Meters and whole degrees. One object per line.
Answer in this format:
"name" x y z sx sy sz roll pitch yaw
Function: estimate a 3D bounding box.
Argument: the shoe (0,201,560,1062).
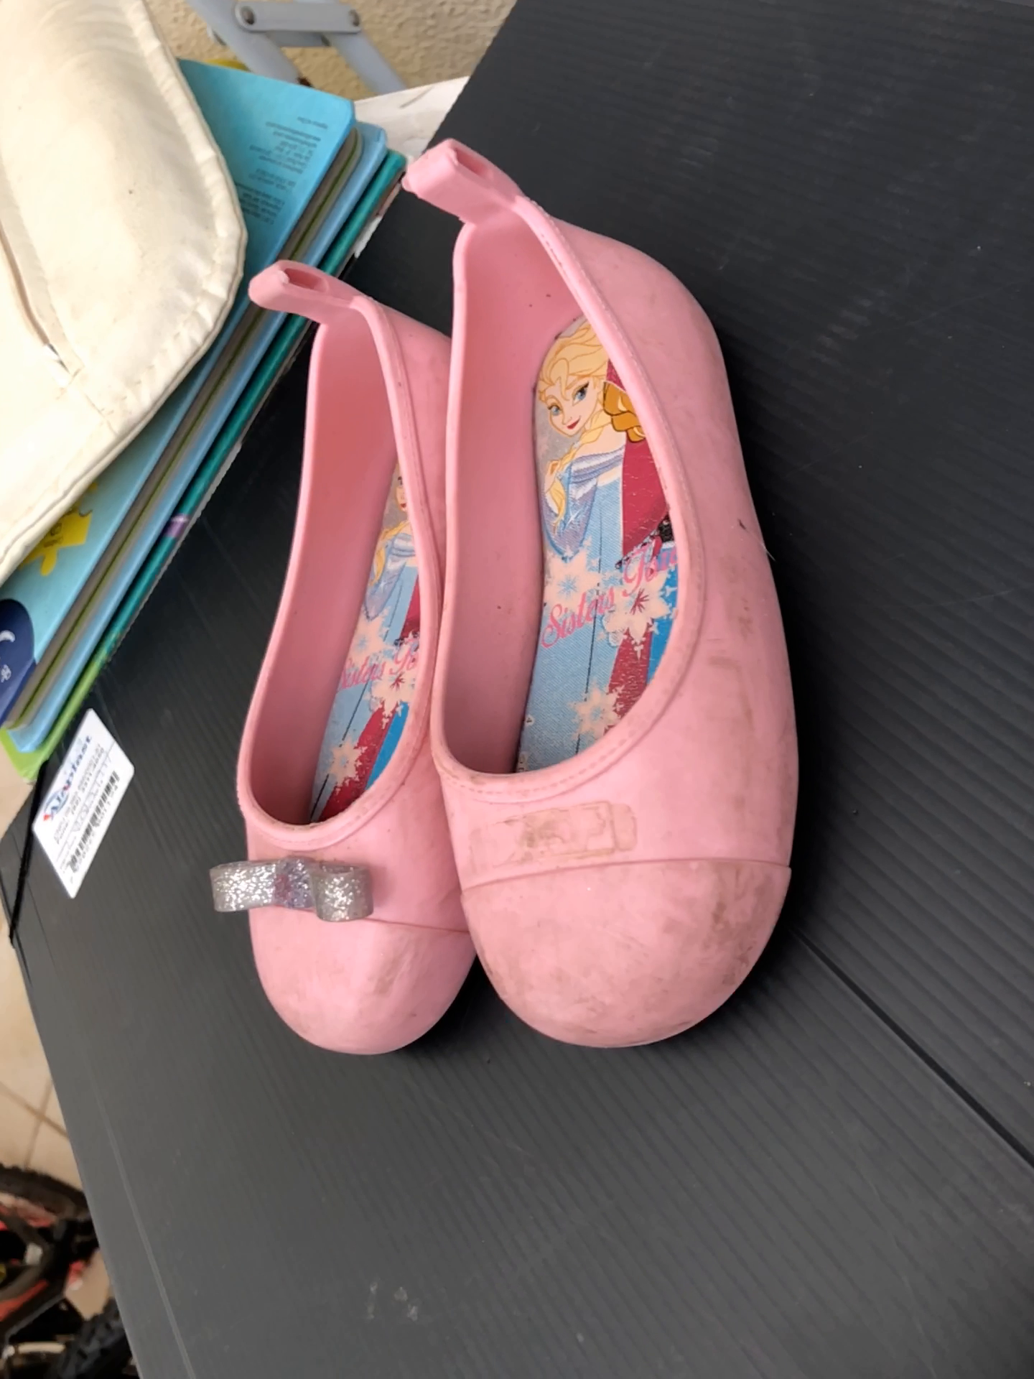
"shoe" -0.050 -0.007 0.256 0.078 0.070 0.160 -4 74 38

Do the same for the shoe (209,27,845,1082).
"shoe" 0.004 -0.015 0.211 0.078 0.070 0.160 -12 69 36
